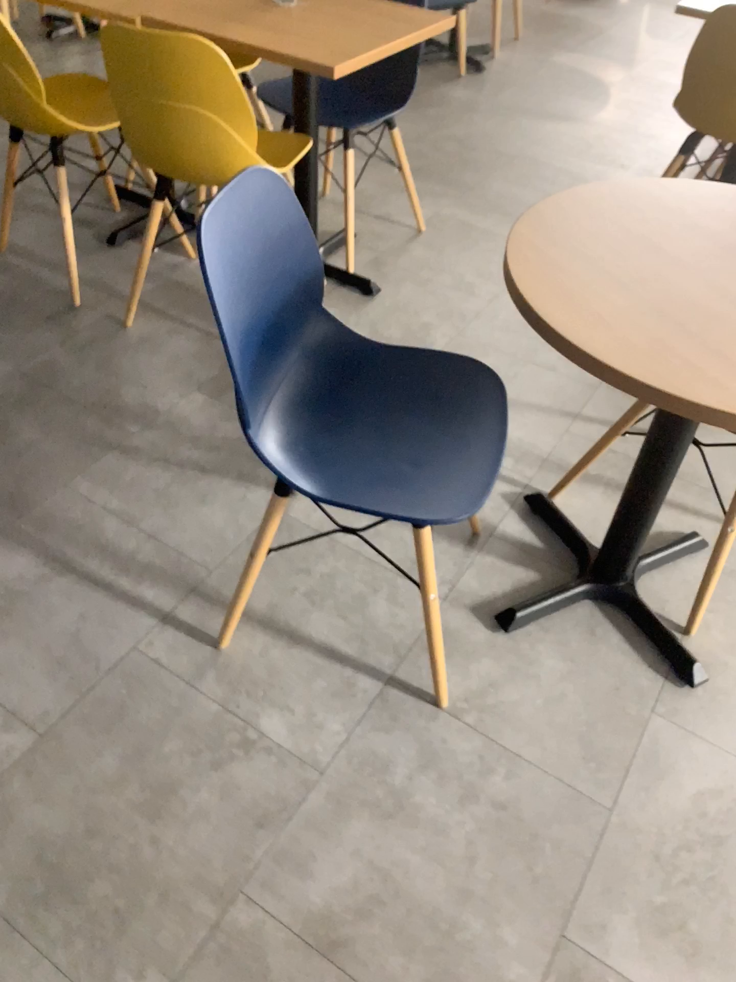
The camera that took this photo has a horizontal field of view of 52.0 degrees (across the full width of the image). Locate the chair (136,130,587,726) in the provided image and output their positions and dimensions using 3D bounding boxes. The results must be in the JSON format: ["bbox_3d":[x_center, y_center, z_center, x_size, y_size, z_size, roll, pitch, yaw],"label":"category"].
[{"bbox_3d":[0.009,-0.081,1.306,0.497,0.809,0.494,13,45,9],"label":"chair"}]
